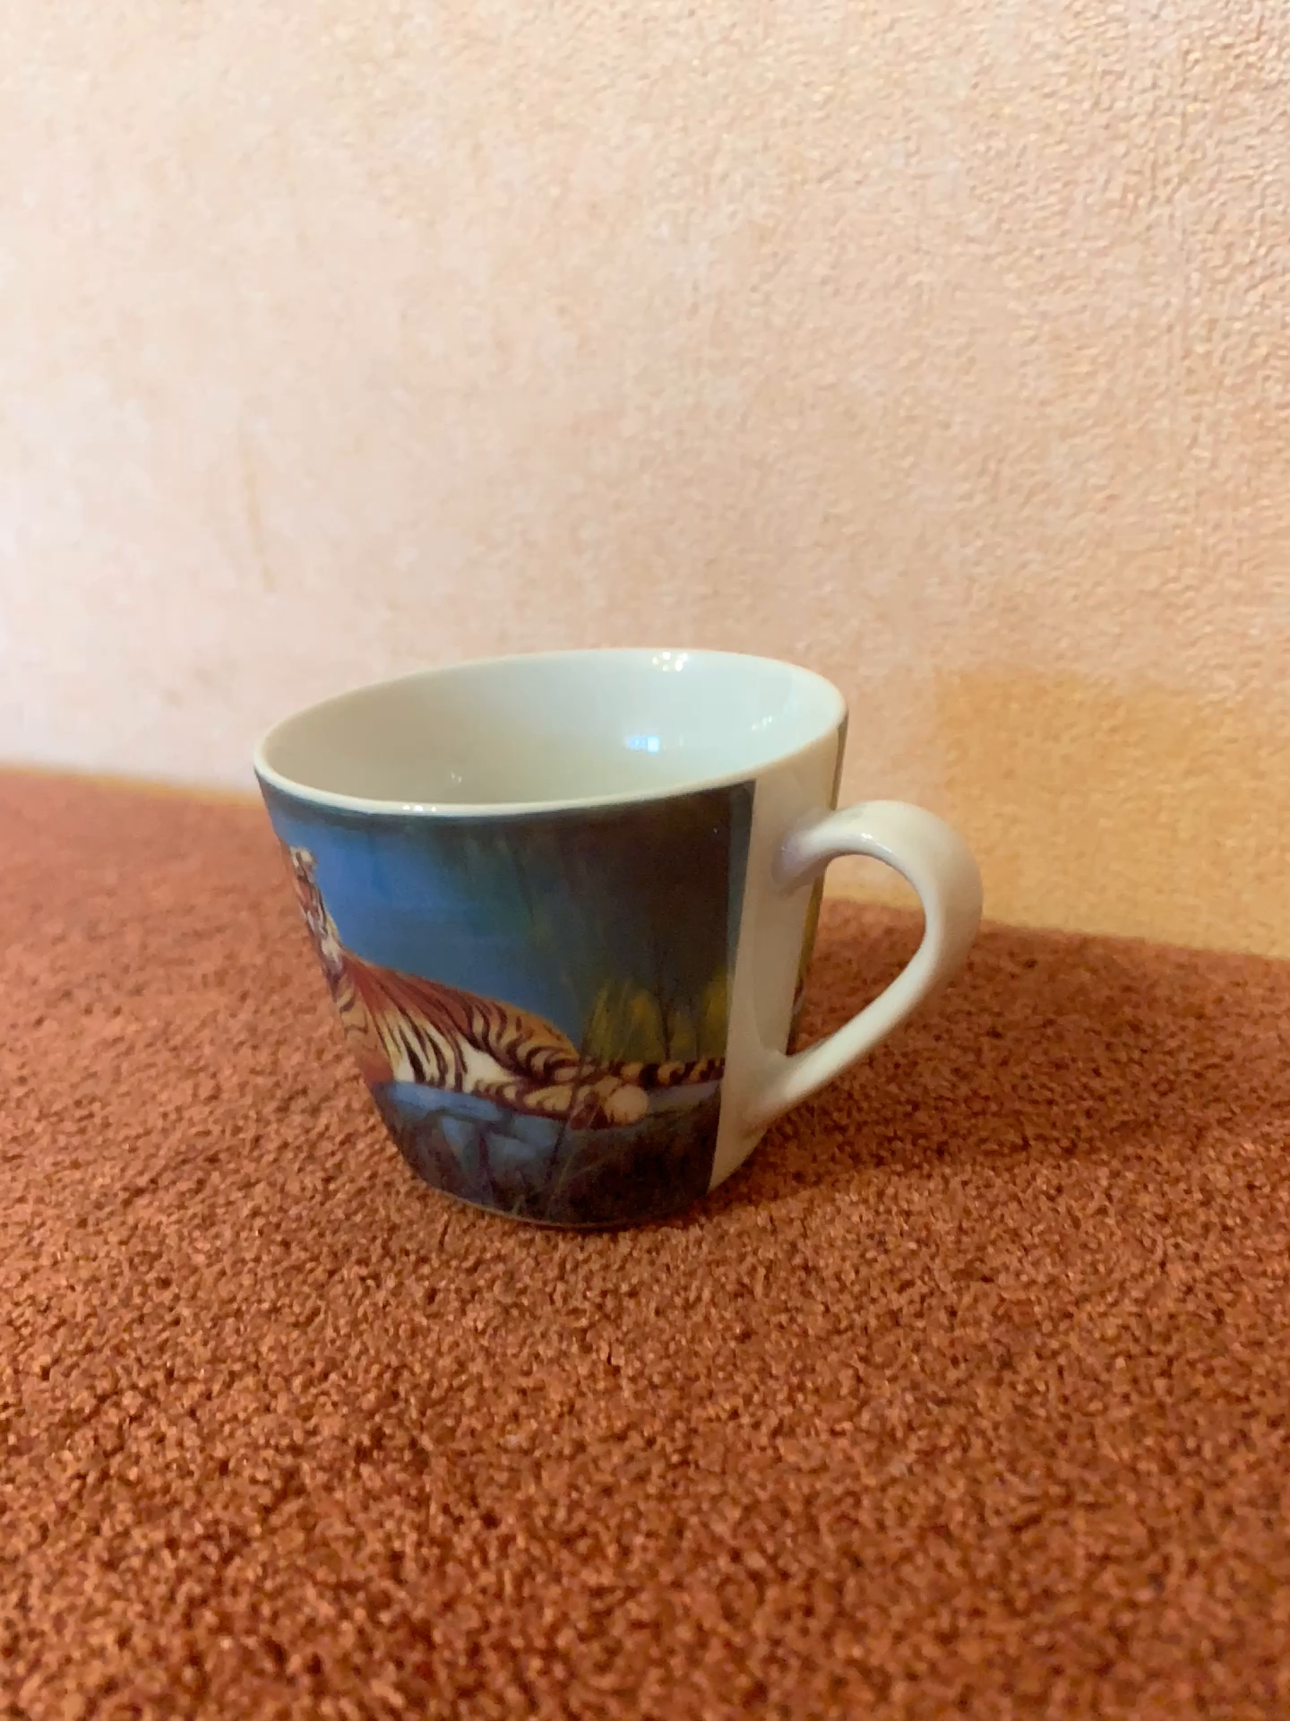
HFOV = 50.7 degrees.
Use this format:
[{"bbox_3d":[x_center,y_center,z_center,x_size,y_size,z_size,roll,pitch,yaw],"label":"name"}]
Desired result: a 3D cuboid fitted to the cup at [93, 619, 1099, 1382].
[{"bbox_3d":[-0.002,0.004,0.156,0.083,0.048,0.072,8,24,37],"label":"cup"}]
